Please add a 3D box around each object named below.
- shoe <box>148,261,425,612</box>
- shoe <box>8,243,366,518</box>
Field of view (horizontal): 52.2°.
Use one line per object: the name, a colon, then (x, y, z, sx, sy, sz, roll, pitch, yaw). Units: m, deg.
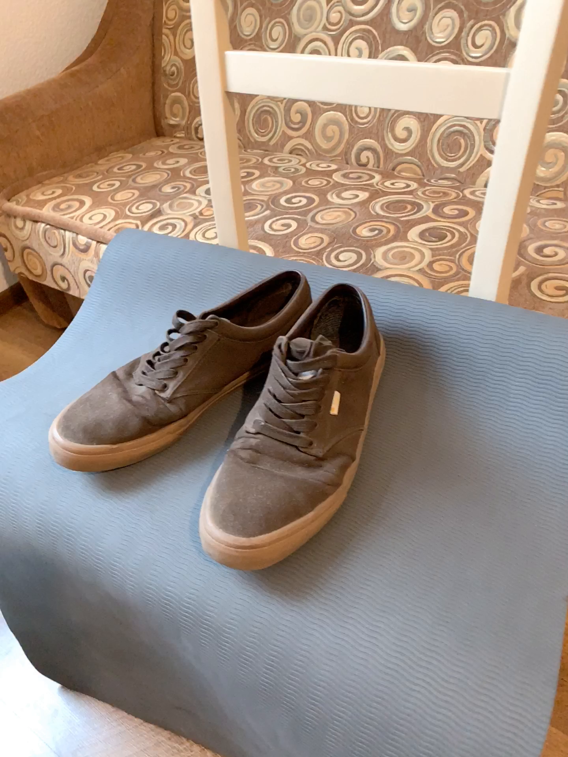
shoe: (0.026, 0.021, 0.507, 0.110, 0.080, 0.321, 13, 45, 21)
shoe: (-0.077, -0.017, 0.583, 0.340, 0.080, 0.111, -33, 47, -25)
